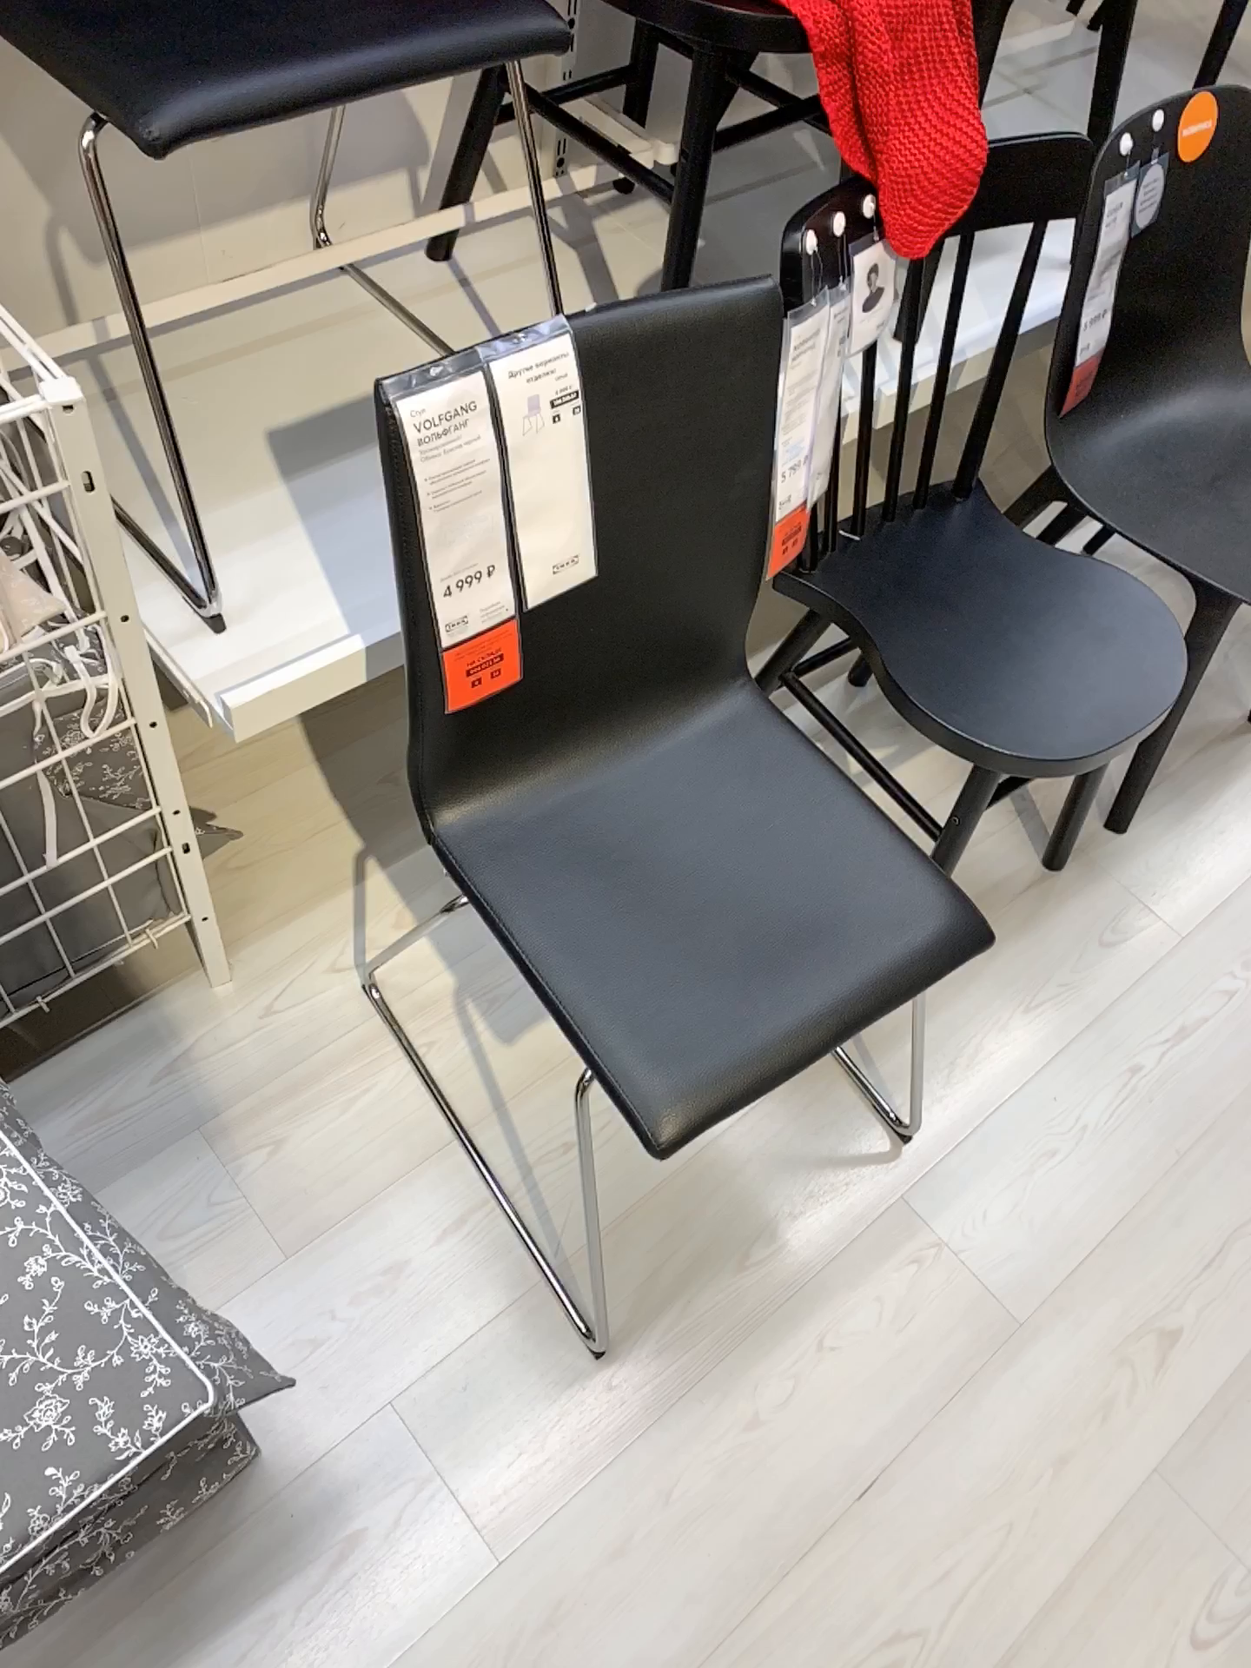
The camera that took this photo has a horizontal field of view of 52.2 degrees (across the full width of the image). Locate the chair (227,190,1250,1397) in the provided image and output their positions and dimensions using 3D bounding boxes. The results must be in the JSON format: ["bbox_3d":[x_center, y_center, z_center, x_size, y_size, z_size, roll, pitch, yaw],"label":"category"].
[{"bbox_3d":[0.059,0.011,1.229,0.532,0.870,0.609,-28,63,-26],"label":"chair"}]

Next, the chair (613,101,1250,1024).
[{"bbox_3d":[0.401,-0.296,1.558,0.472,0.800,0.599,-32,64,-27],"label":"chair"}]
